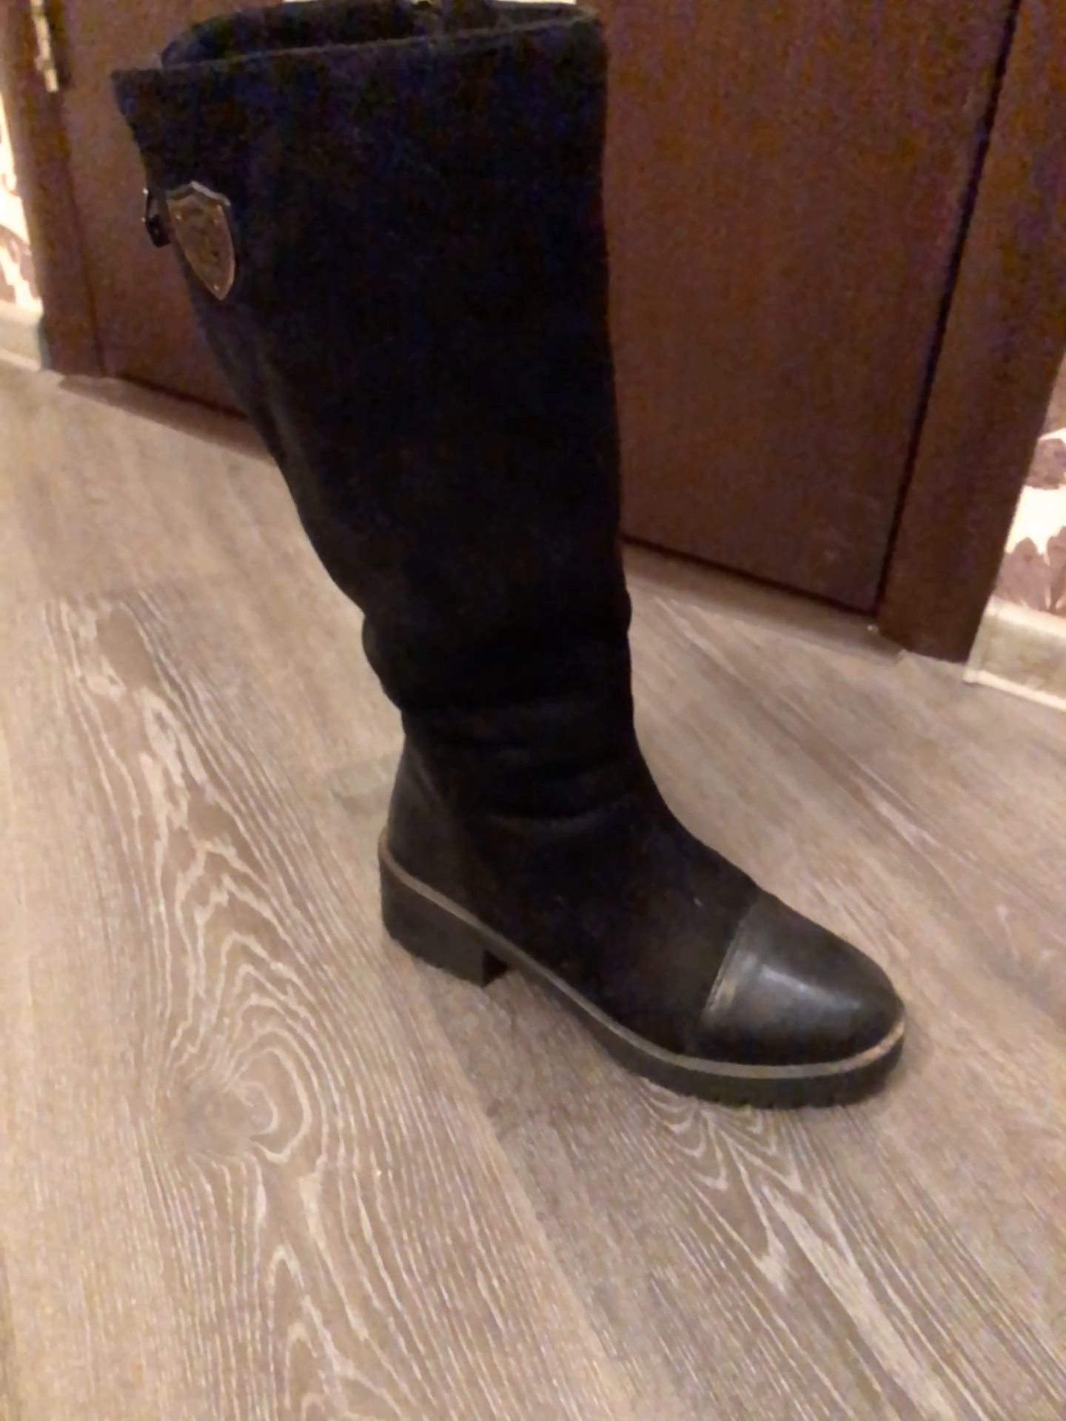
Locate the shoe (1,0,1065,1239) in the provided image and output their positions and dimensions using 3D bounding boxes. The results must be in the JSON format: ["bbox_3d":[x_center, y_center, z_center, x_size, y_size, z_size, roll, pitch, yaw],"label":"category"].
[{"bbox_3d":[0.011,-0.030,0.410,0.290,0.358,0.121,17,38,20],"label":"shoe"}]
